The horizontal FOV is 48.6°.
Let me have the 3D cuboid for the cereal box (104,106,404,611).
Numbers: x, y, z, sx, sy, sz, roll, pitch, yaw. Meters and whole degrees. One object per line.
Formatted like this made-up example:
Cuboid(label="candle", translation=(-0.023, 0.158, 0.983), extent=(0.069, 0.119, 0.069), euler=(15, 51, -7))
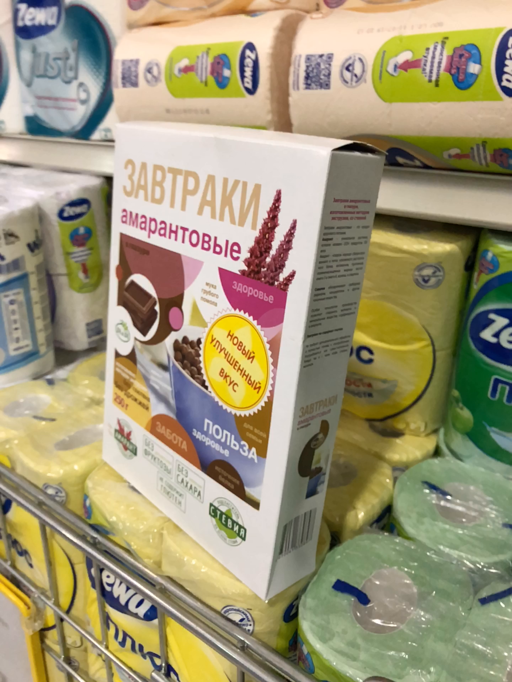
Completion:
Cuboid(label="cereal box", translation=(-0.024, -0.004, 0.368), extent=(0.050, 0.269, 0.190), euler=(-10, 24, -43))
